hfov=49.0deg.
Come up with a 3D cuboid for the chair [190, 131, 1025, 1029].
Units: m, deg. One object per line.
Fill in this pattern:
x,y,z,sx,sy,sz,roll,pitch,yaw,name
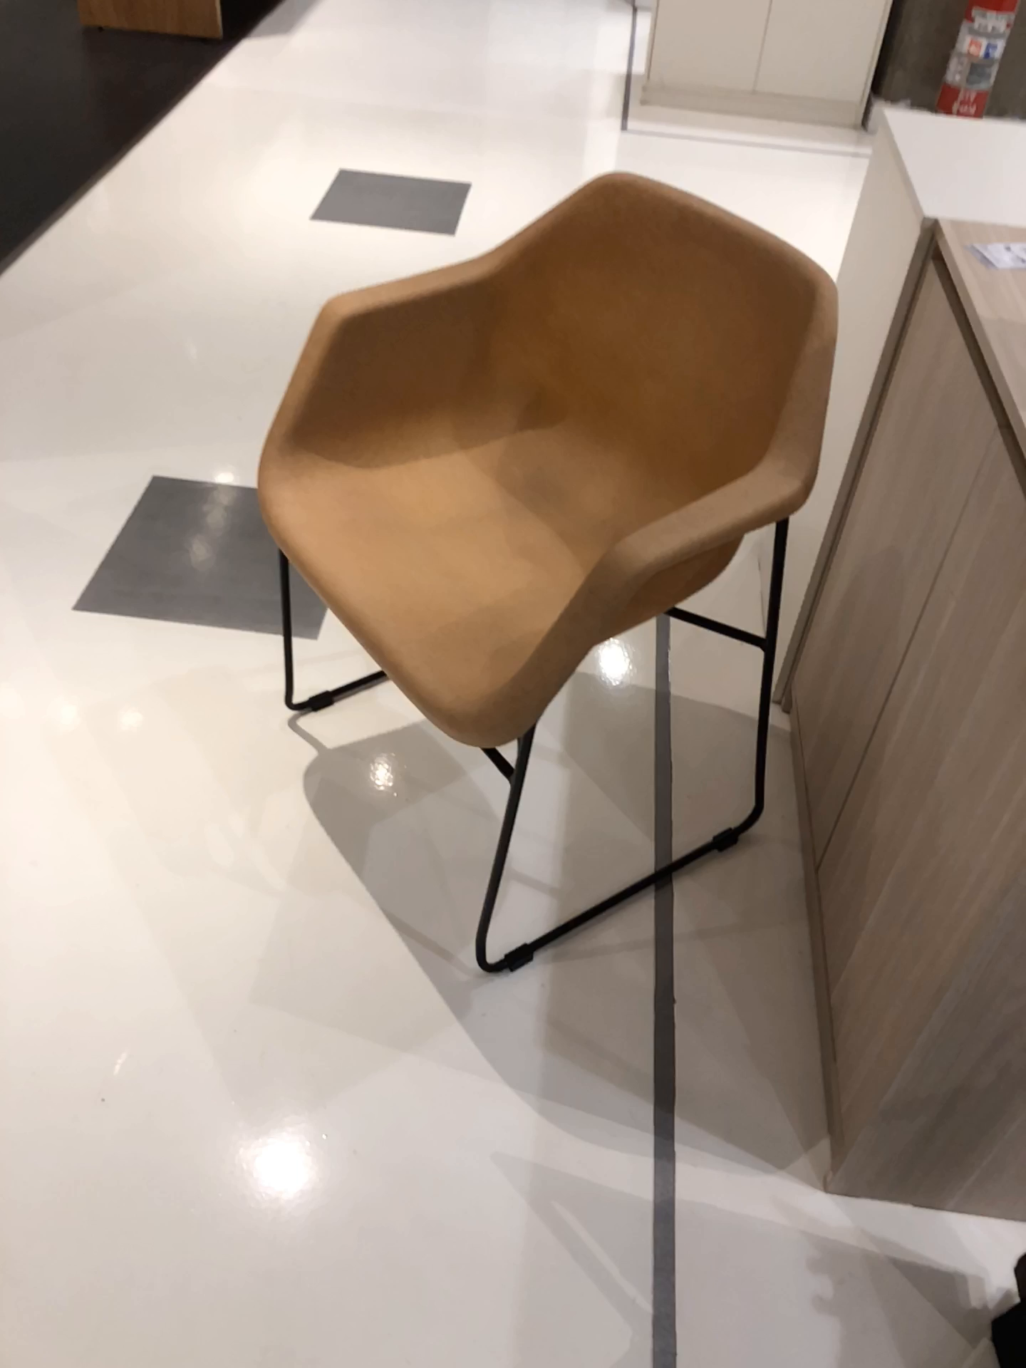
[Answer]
0.058,-0.148,1.325,0.572,0.705,0.593,-24,50,-28,chair
